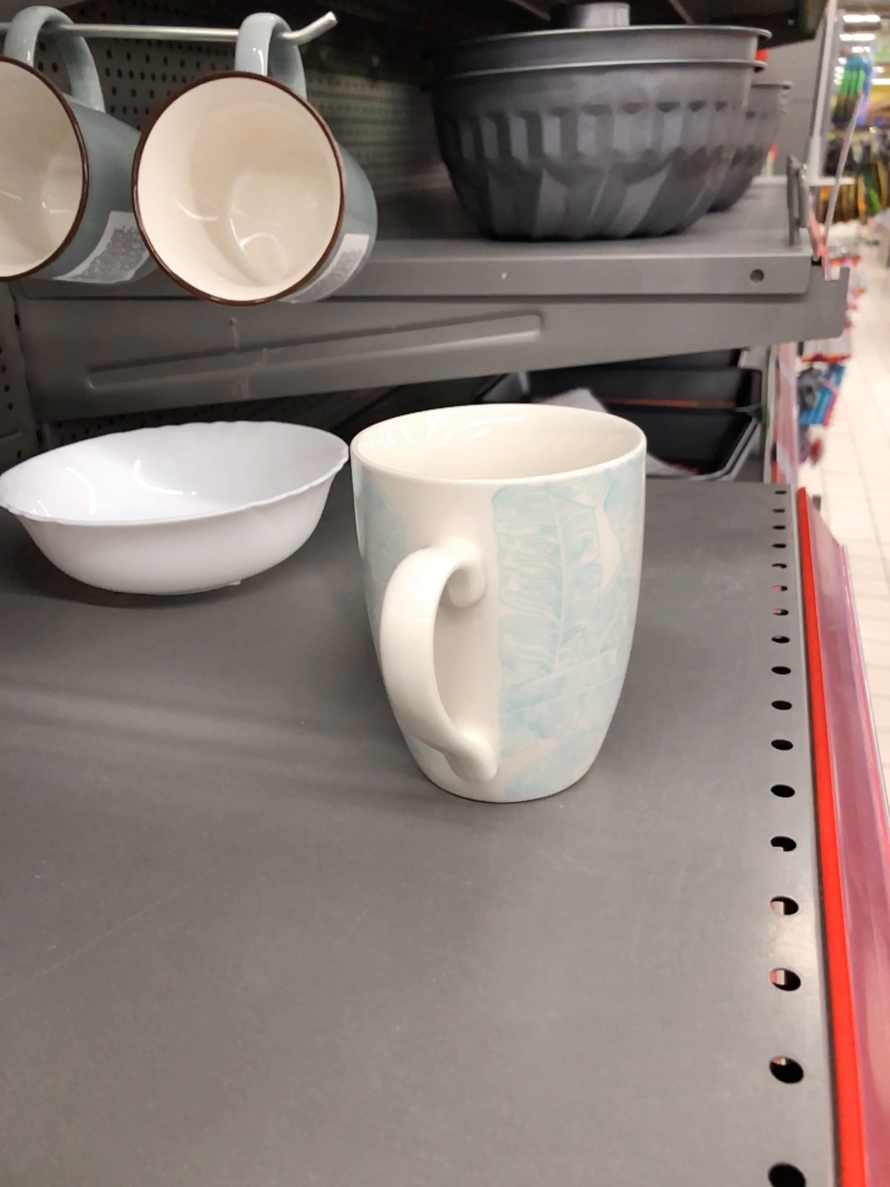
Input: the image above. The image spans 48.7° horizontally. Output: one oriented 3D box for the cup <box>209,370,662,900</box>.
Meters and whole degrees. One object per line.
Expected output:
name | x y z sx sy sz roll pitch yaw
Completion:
cup | 0.006 0.000 0.283 0.083 0.098 0.121 9 25 19
